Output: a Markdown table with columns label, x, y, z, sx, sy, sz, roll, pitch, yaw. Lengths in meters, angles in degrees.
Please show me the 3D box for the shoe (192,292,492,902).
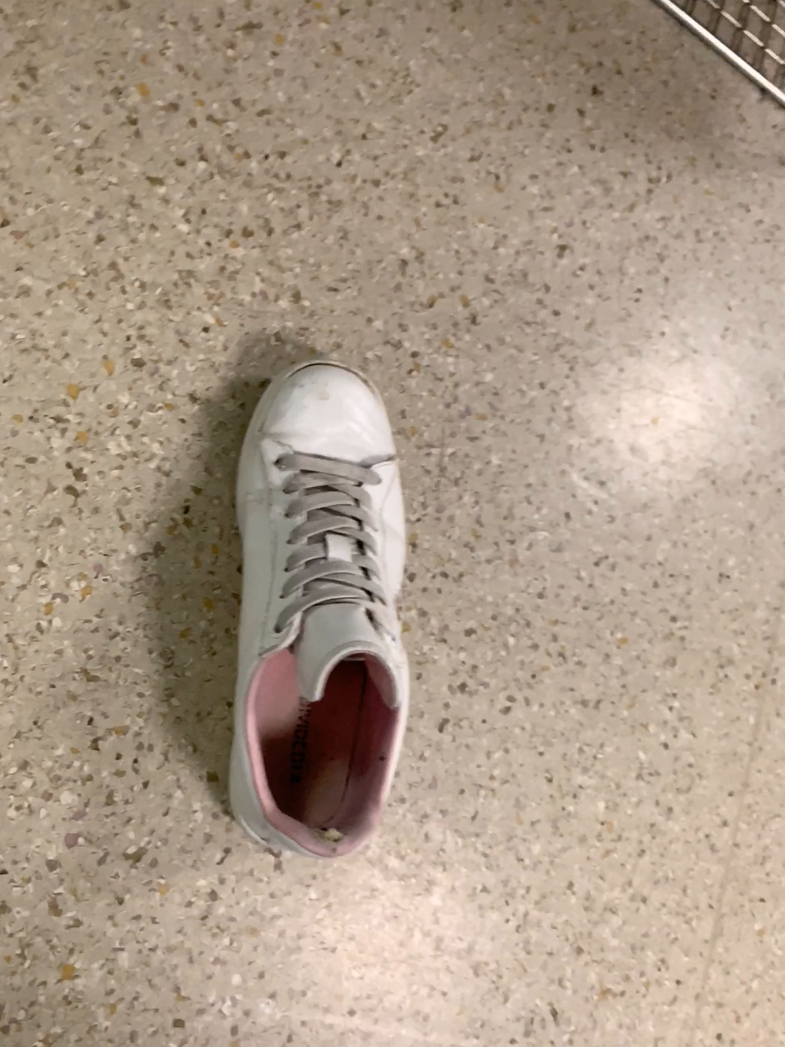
| label | x | y | z | sx | sy | sz | roll | pitch | yaw |
| --- | --- | --- | --- | --- | --- | --- | --- | --- | --- |
| shoe | -0.026 | 0.034 | 0.400 | 0.099 | 0.092 | 0.255 | 8 | 83 | -25 |
